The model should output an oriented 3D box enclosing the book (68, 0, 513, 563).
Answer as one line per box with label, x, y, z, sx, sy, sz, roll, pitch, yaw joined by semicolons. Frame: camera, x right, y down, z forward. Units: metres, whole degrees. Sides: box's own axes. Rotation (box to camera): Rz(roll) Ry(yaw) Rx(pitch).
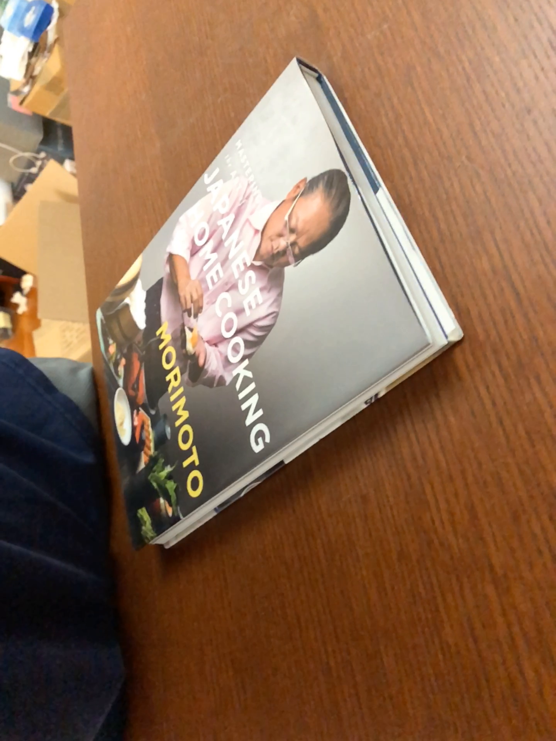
book;-0.039;-0.042;0.381;0.301;0.030;0.221;-40;54;35
